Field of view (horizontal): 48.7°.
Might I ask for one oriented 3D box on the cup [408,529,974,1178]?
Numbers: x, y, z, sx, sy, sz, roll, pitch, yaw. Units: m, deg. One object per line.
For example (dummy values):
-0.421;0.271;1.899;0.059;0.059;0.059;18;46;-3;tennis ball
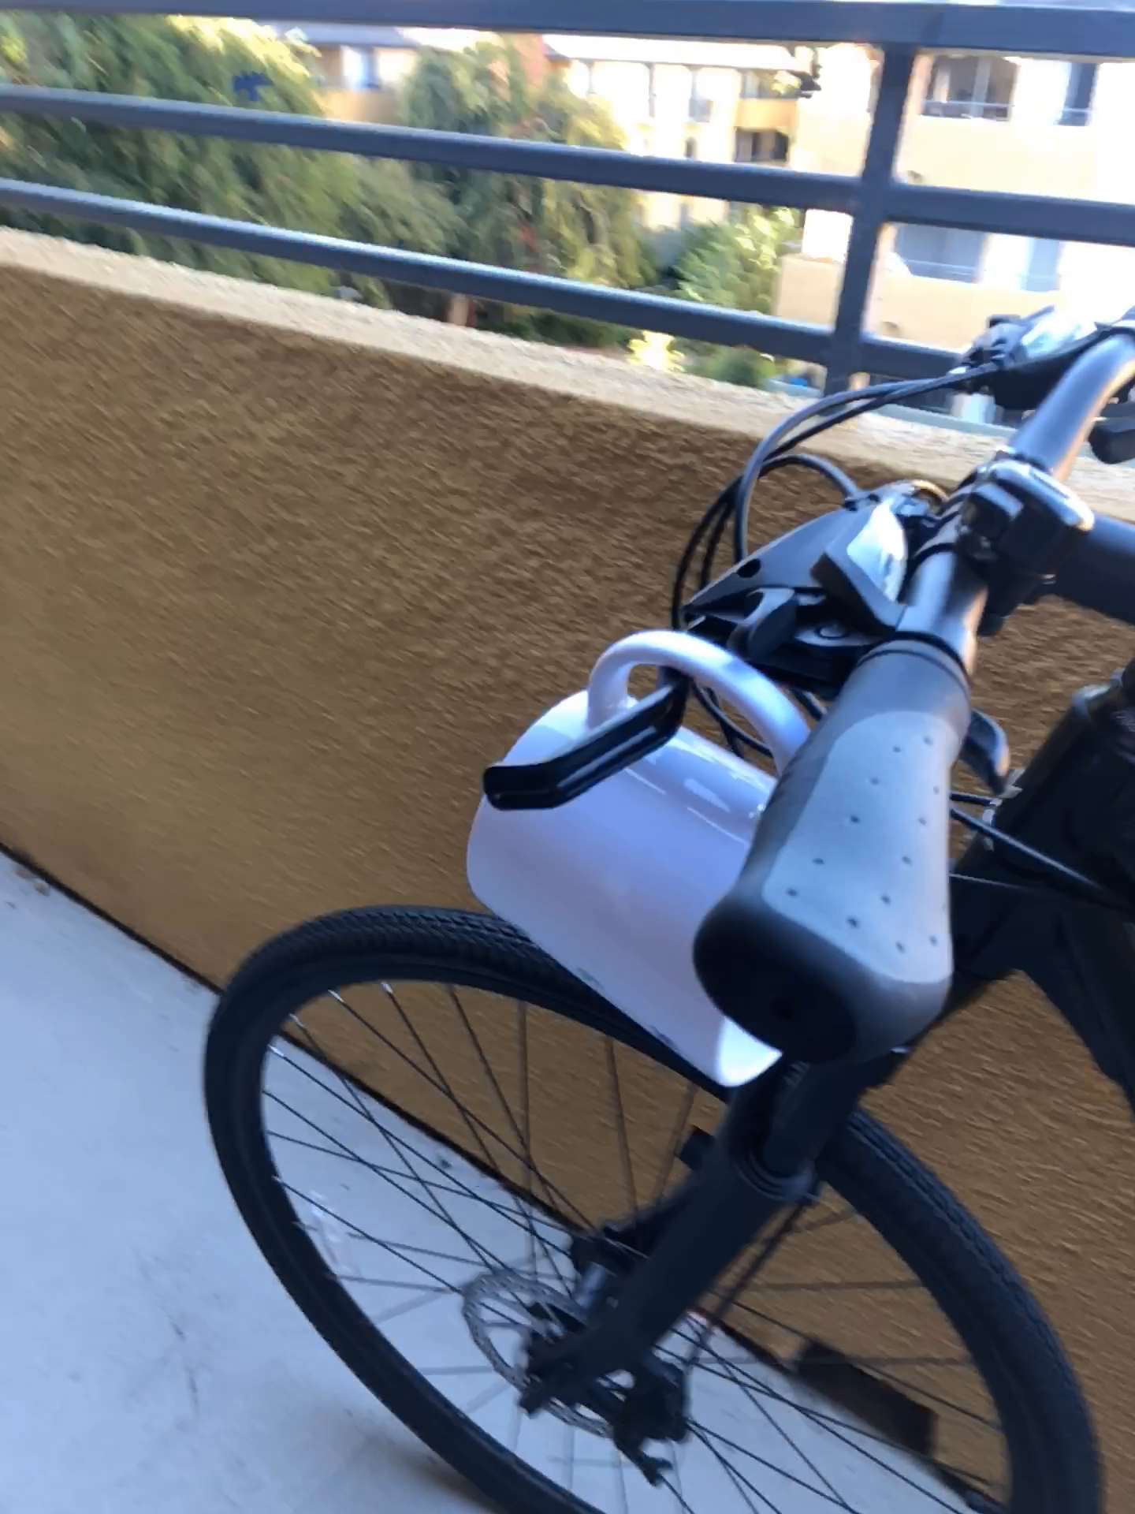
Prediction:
0.028;0.020;0.363;0.090;0.119;0.120;-25;43;-35;cup
